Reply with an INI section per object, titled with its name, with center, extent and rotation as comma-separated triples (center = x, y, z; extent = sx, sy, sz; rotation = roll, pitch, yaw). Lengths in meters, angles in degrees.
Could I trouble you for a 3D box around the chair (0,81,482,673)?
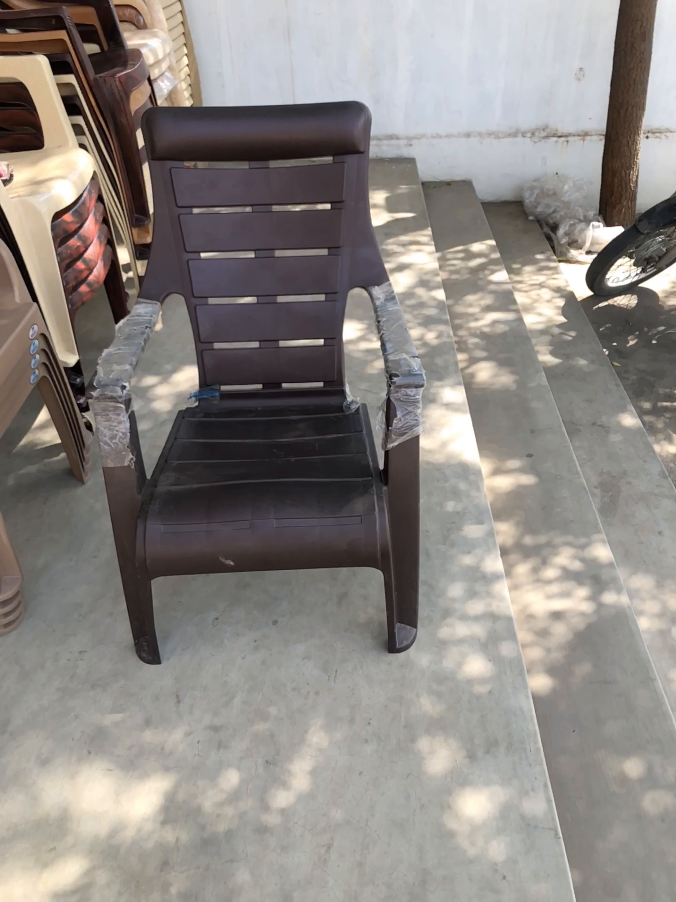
[chair]
center = -0.155, -0.161, 1.486
extent = 0.680, 0.875, 0.764
rotation = -3, 38, 0
